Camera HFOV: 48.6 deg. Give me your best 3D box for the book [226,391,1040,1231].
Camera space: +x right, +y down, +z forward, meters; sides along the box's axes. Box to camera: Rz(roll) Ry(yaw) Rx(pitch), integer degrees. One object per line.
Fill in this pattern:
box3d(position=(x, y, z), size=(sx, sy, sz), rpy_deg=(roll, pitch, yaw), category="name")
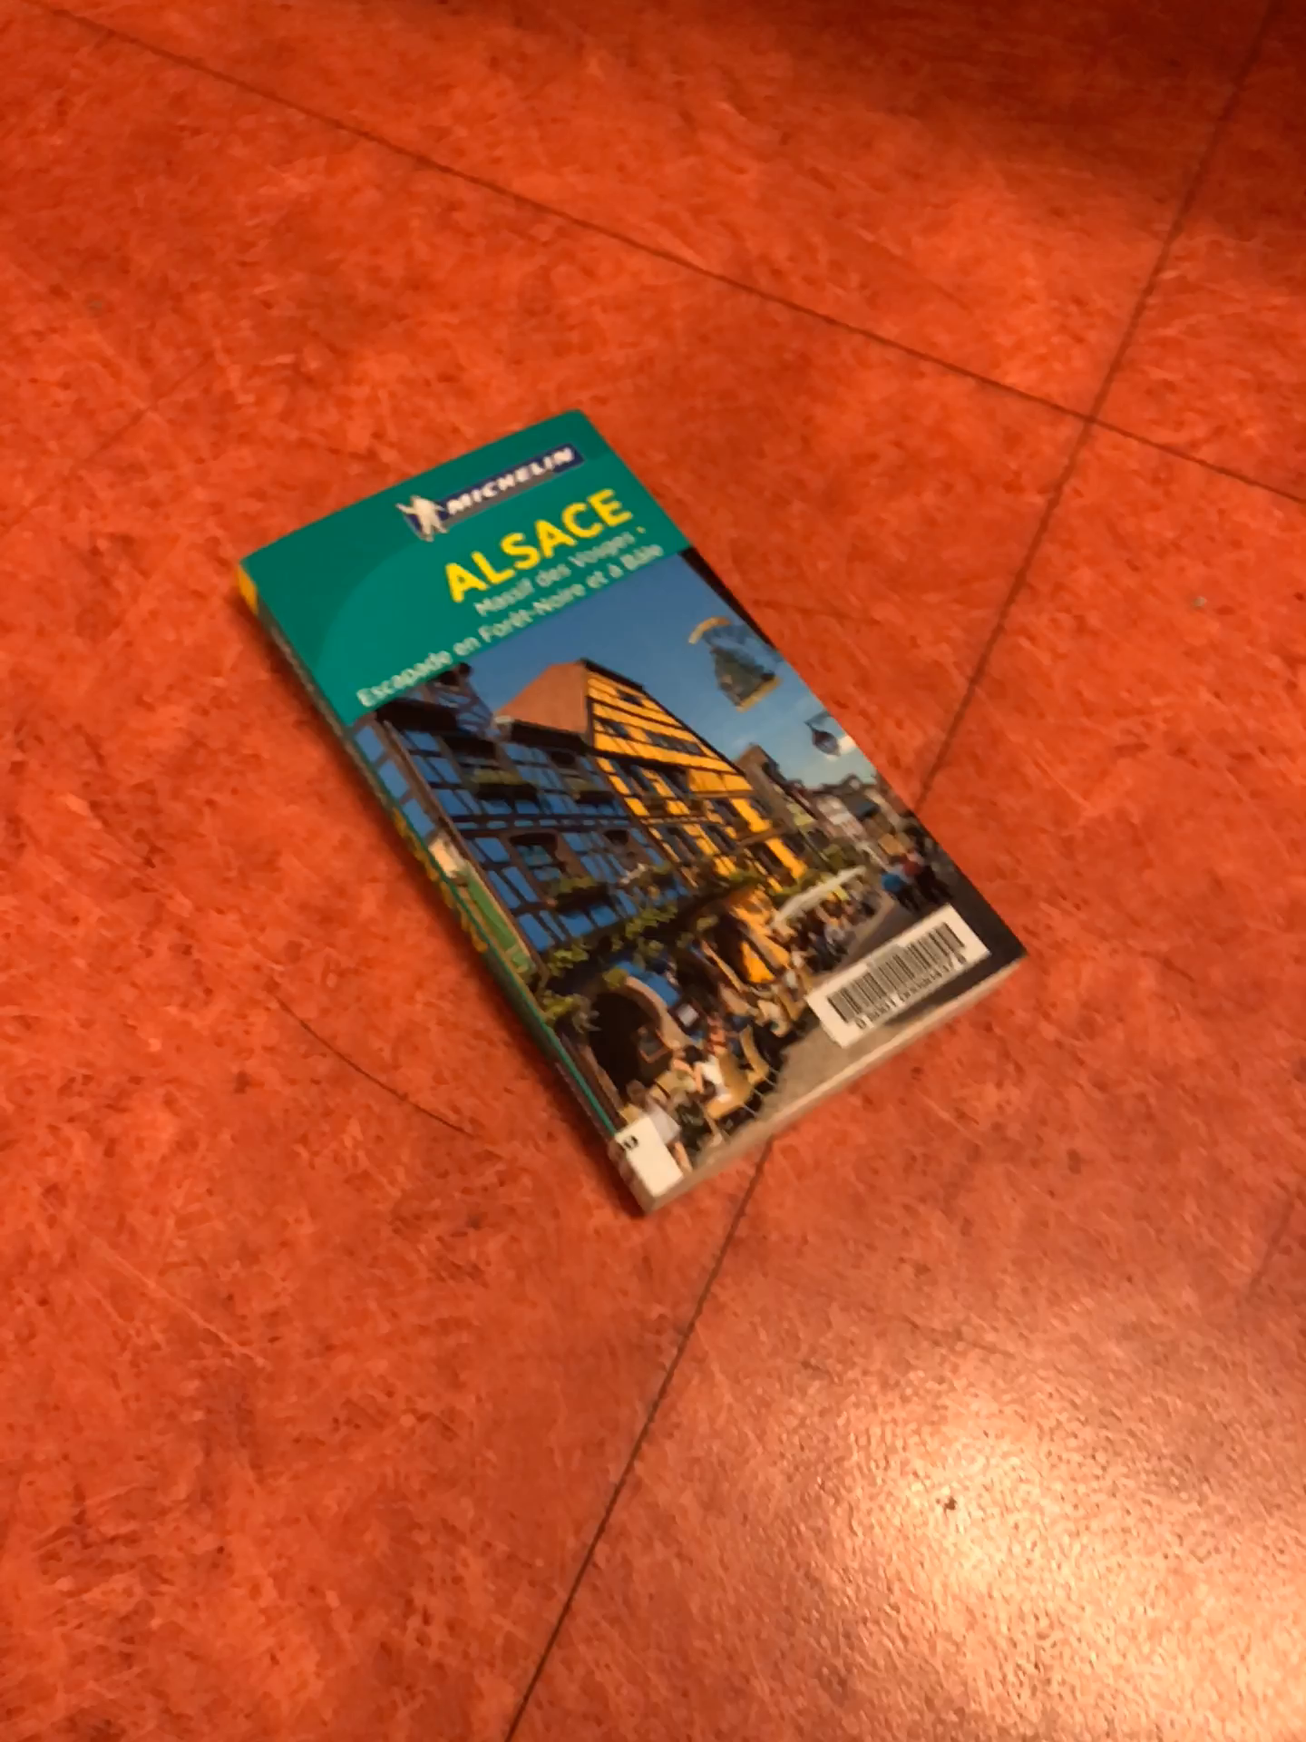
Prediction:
box3d(position=(-0.011, -0.028, 0.391), size=(0.116, 0.030, 0.213), rpy_deg=(-29, 69, -17), category="book")
